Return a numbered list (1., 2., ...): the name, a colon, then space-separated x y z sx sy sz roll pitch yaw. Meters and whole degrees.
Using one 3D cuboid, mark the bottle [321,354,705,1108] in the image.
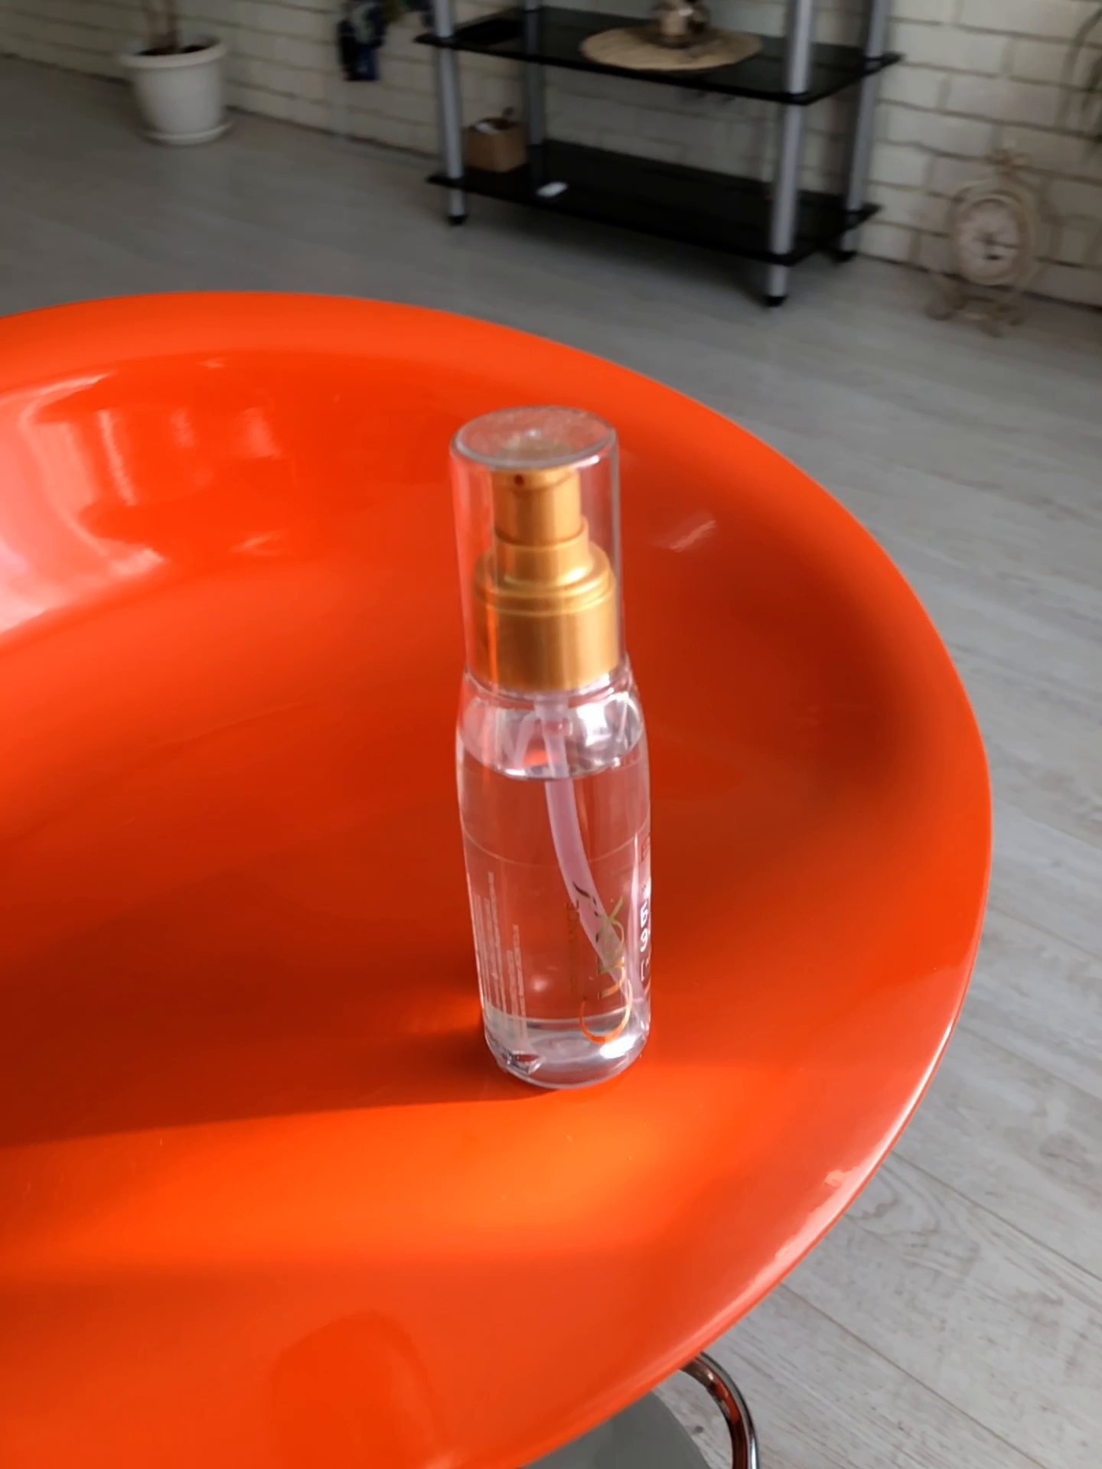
1. bottle: 0.000 0.004 0.255 0.050 0.149 0.050 -4 35 3
